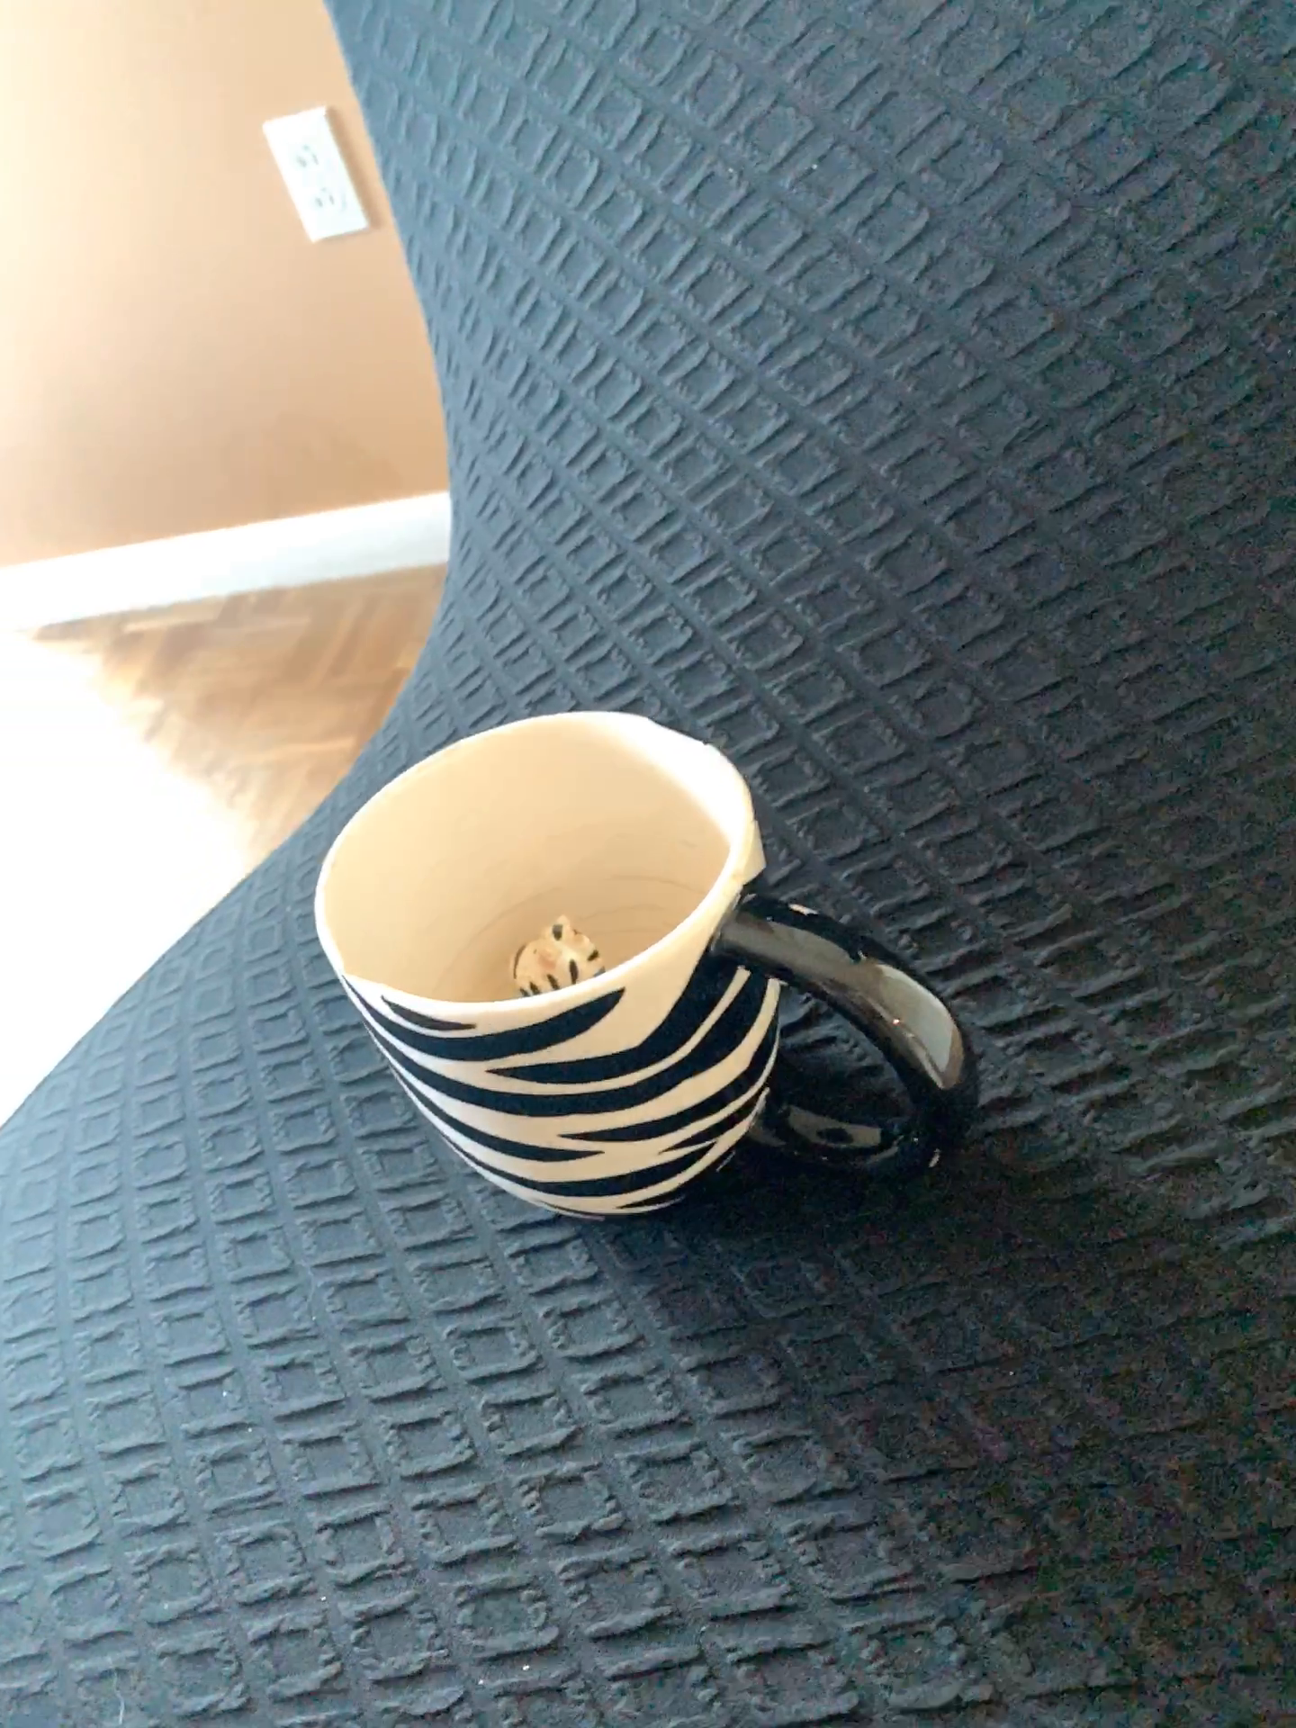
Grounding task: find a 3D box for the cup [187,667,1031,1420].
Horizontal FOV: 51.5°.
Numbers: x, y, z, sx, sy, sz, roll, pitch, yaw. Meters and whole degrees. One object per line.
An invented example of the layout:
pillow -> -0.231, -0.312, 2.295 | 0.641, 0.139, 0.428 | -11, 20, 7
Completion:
cup -> -0.007, 0.029, 0.286 | 0.141, 0.090, 0.080 | 18, 55, 37
